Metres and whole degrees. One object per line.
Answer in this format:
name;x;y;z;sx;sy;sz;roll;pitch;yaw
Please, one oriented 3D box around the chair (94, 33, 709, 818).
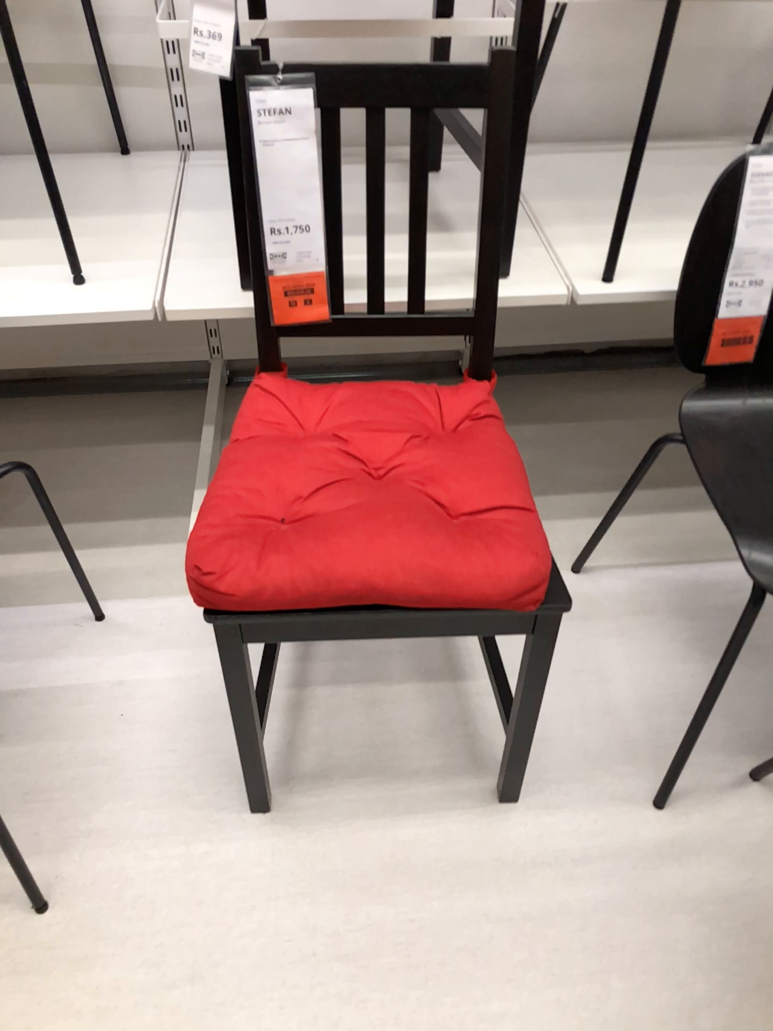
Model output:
chair;-0.003;-0.066;1.050;0.430;0.835;0.483;-2;43;-3
